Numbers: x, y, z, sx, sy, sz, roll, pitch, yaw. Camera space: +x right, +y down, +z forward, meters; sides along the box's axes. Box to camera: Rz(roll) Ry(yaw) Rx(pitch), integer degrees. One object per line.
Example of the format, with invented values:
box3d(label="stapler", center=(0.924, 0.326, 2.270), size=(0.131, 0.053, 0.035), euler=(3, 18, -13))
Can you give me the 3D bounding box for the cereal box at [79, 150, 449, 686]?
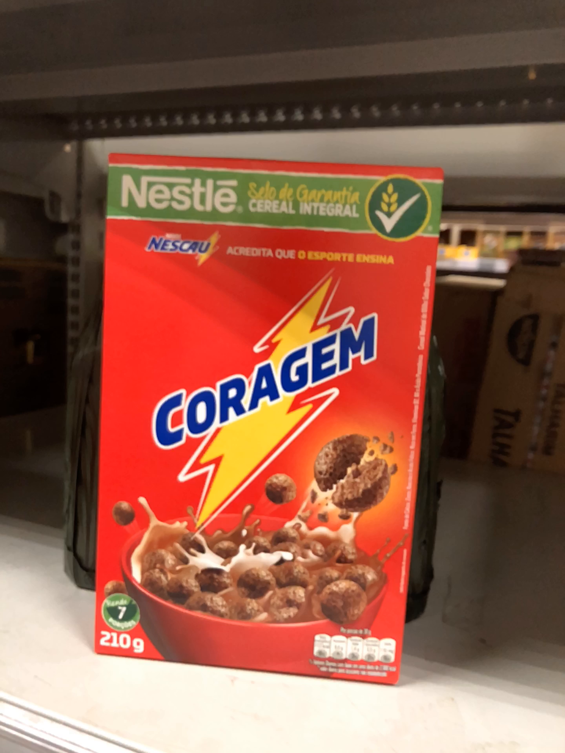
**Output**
box3d(label="cereal box", center=(-0.012, 0.018, 0.333), size=(0.170, 0.249, 0.060), euler=(3, 6, 6))
